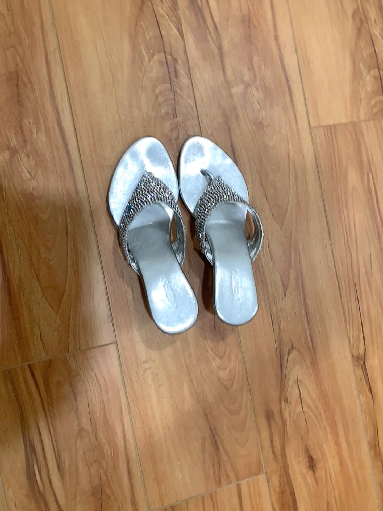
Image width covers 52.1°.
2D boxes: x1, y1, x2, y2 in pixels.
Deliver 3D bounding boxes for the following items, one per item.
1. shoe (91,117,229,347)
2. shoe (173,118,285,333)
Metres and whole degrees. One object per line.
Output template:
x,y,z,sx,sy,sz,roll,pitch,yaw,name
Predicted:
-0.038,-0.026,0.450,0.095,0.073,0.228,-14,92,-12,shoe
0.041,-0.034,0.466,0.085,0.073,0.228,-8,90,-12,shoe
